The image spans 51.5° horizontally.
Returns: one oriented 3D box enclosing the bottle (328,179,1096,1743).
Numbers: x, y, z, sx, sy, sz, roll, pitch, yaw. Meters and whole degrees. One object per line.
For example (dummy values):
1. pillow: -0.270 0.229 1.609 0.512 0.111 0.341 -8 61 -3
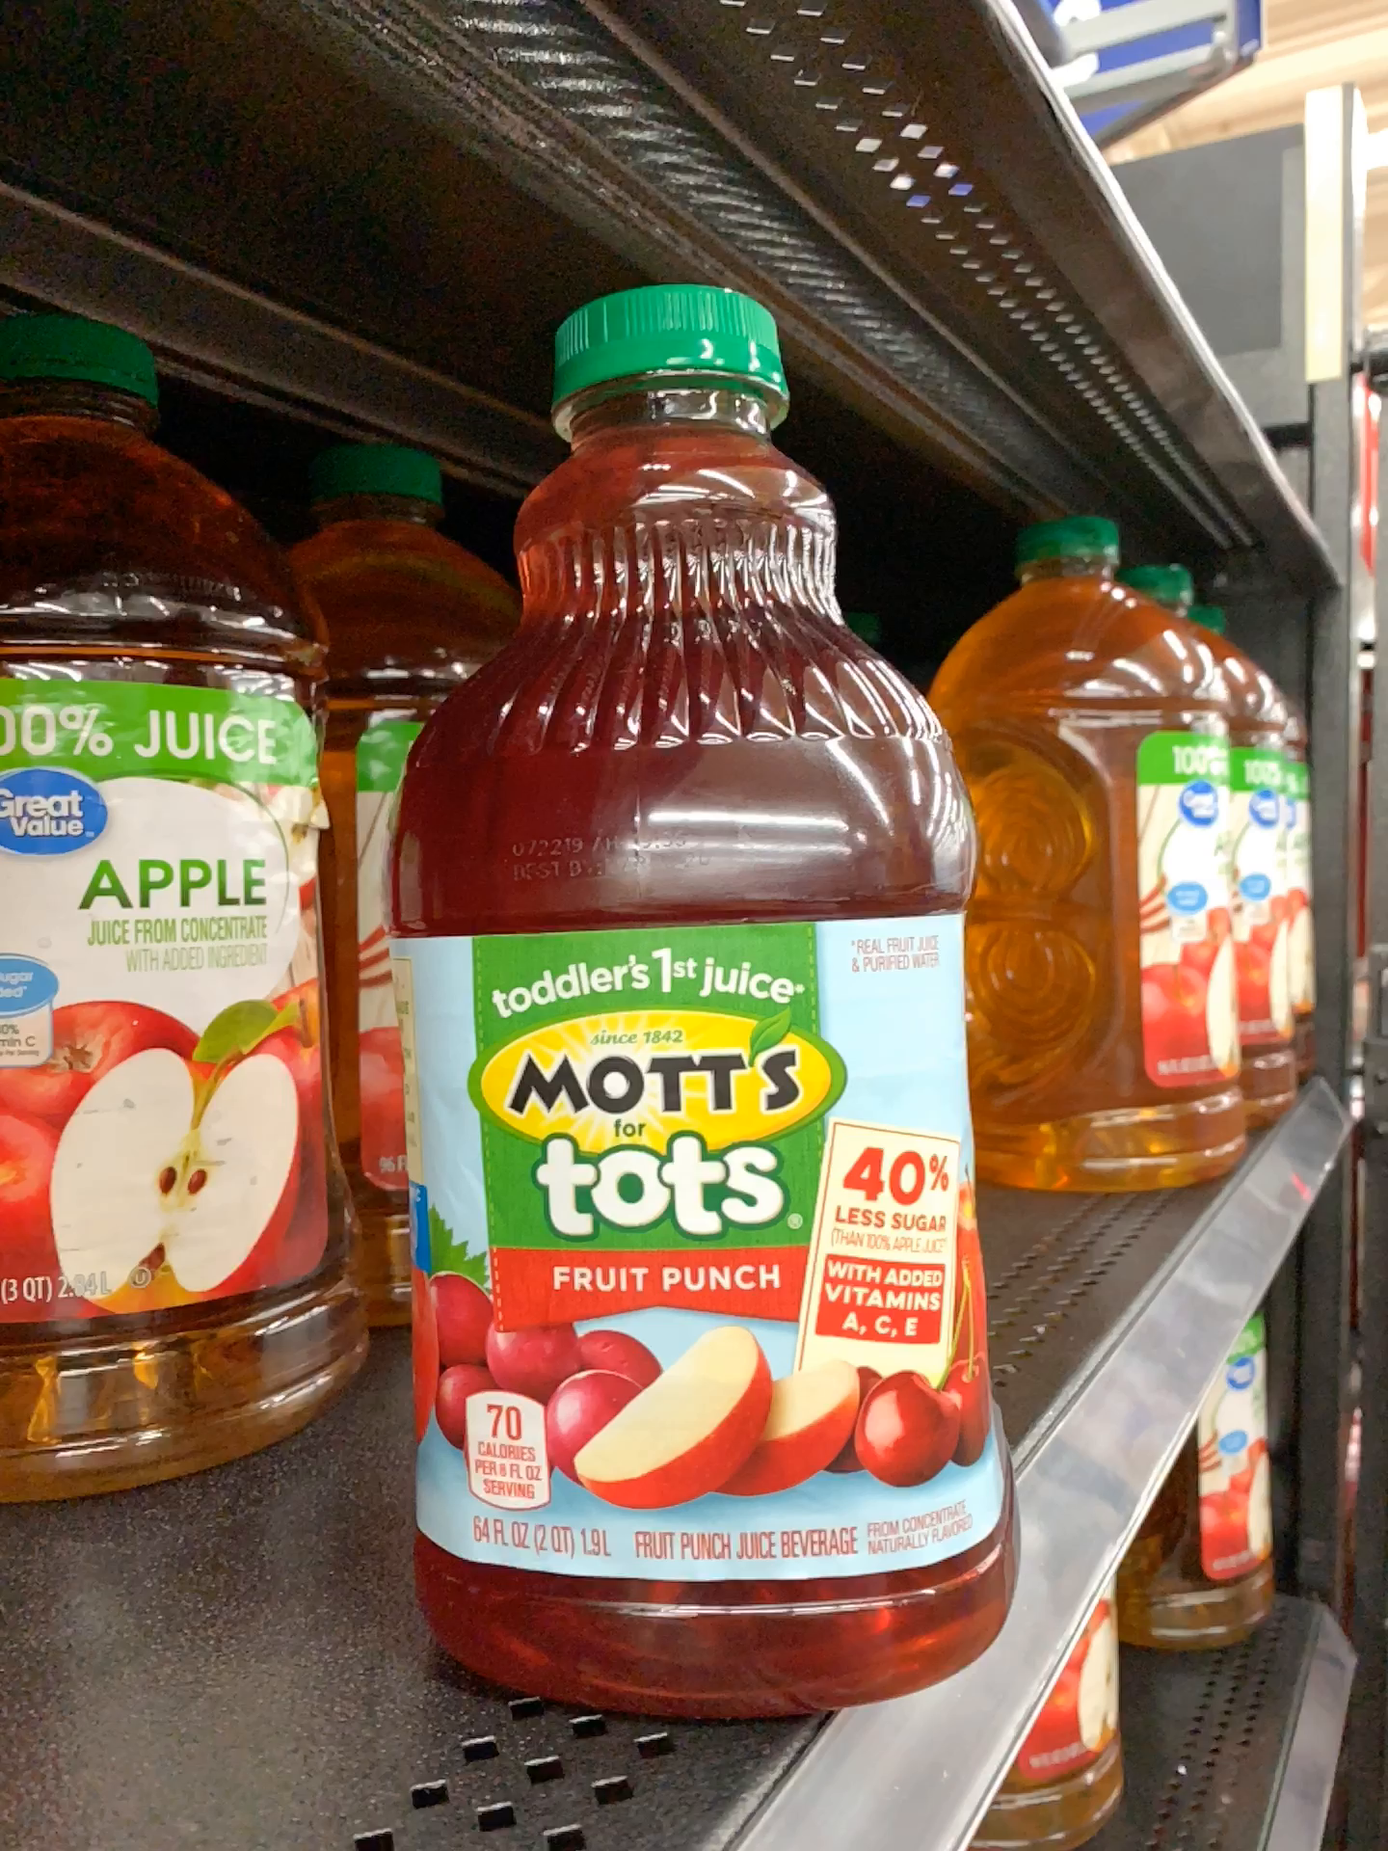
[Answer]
1. bottle: 0.004 0.005 0.286 0.120 0.250 0.110 -1 2 0
